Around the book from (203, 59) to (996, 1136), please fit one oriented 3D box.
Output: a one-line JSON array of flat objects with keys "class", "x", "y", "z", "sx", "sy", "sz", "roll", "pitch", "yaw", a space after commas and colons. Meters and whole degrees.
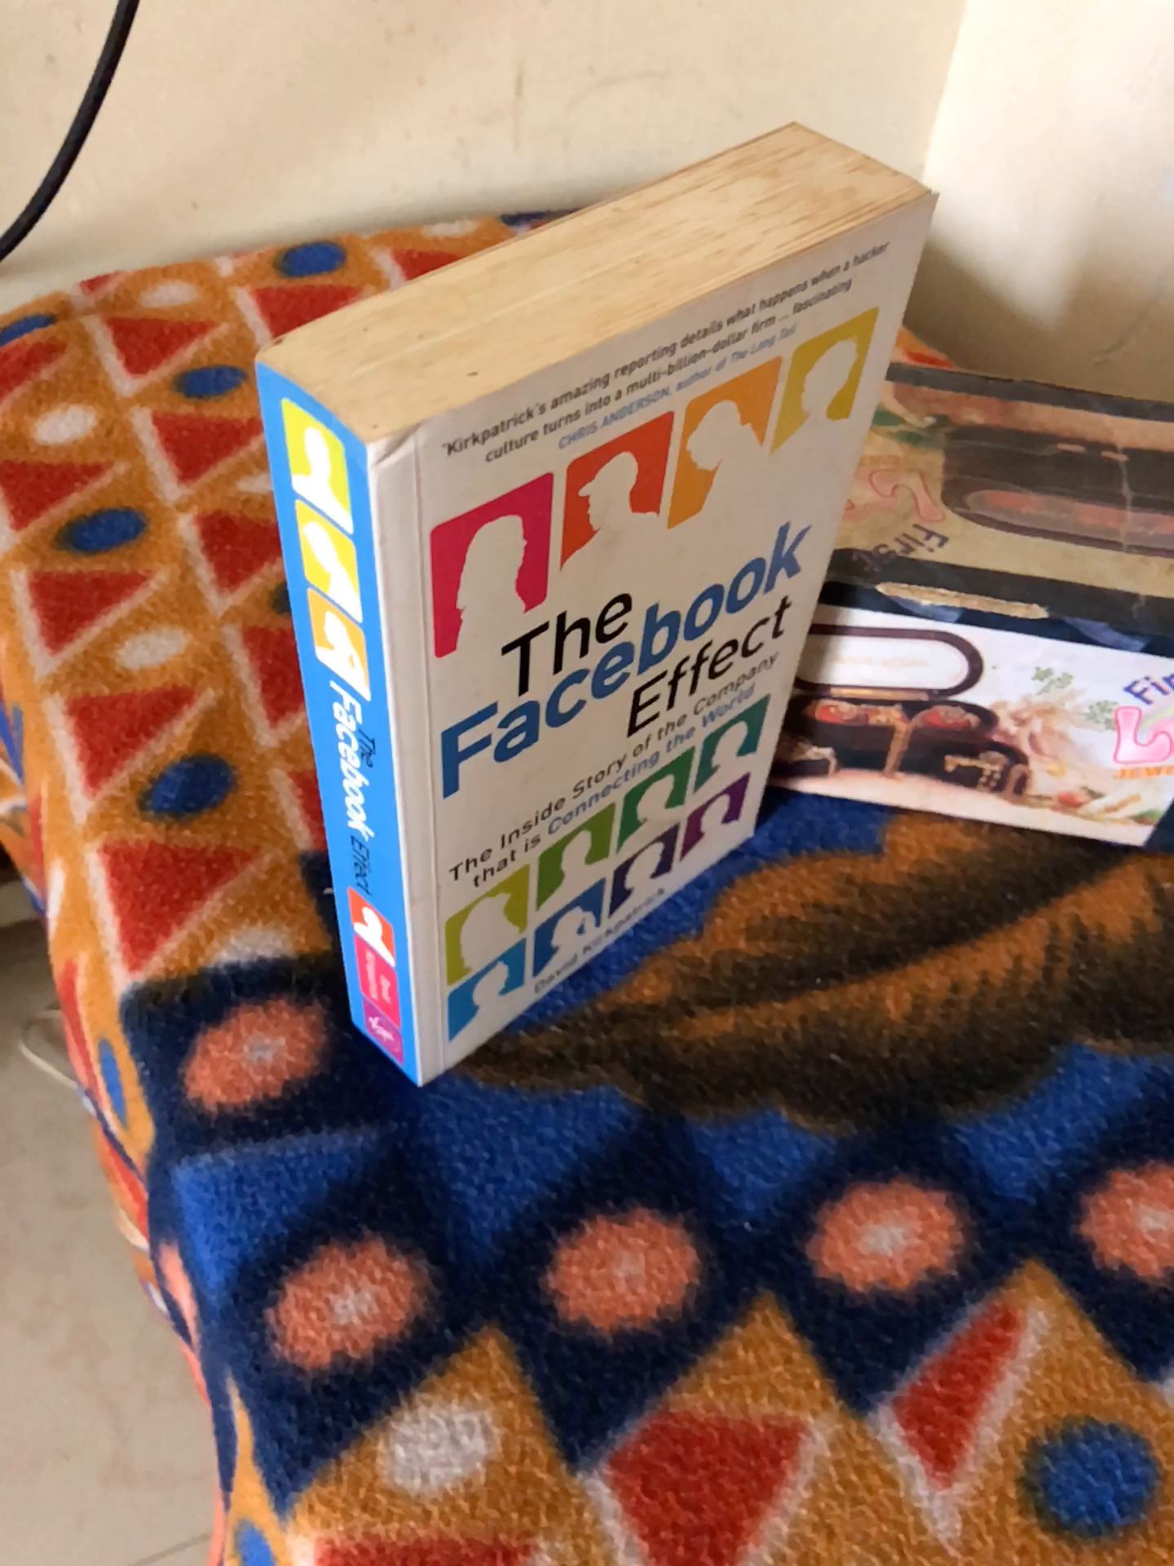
[{"class": "book", "x": 0.004, "y": -0.029, "z": 0.306, "sx": 0.150, "sy": 0.219, "sz": 0.040, "roll": -34, "pitch": 58, "yaw": -29}]
